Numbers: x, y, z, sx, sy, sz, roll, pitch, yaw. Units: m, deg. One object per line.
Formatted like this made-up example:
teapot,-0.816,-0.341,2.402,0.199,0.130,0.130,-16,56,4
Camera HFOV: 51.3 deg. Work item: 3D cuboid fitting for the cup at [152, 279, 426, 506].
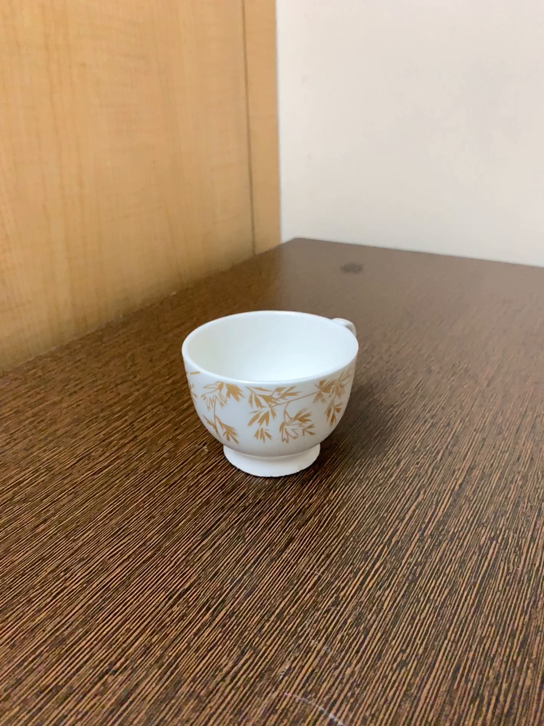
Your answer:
cup,0.012,0.004,0.265,0.080,0.050,0.100,16,31,33
